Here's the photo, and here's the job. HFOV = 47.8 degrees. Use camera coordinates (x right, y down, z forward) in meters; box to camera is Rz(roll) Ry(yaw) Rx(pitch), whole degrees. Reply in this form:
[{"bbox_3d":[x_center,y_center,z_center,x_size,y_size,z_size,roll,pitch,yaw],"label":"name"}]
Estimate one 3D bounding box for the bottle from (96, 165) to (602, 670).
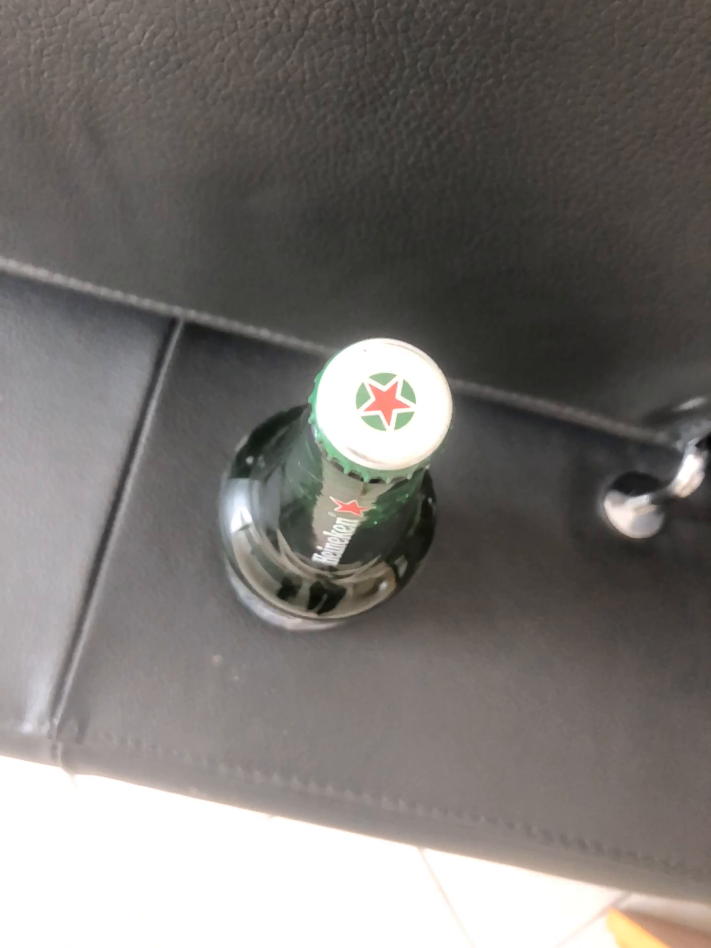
[{"bbox_3d":[-0.015,0.014,0.279,0.080,0.270,0.080,2,79,-8],"label":"bottle"}]
